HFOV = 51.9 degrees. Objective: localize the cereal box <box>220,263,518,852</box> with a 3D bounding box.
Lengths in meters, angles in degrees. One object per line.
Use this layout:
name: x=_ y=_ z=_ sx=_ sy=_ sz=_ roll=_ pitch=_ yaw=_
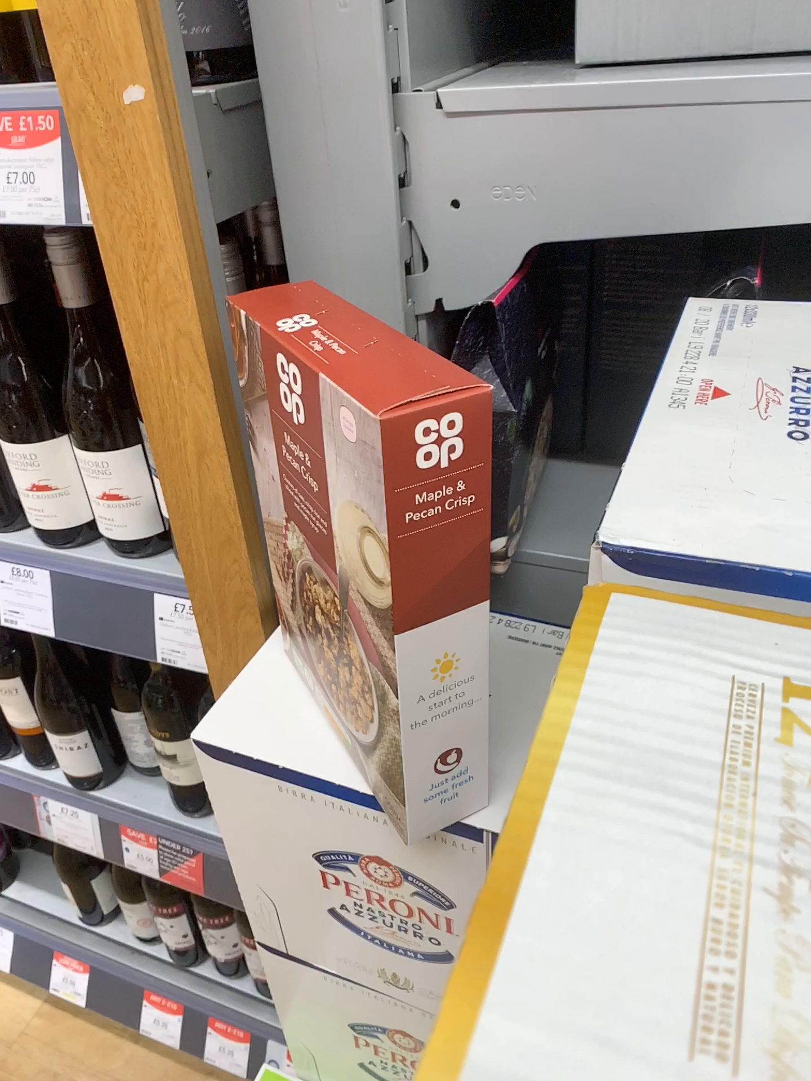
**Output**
cereal box: x=-0.021 y=0.004 z=0.440 sx=0.060 sy=0.248 sz=0.181 roll=-18 pitch=36 yaw=-22
